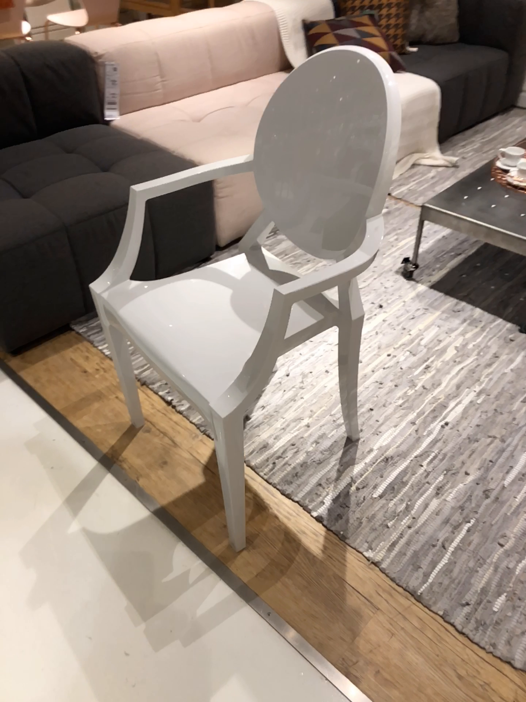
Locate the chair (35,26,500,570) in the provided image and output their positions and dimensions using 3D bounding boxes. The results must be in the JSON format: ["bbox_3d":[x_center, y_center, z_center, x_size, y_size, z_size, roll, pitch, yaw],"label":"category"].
[{"bbox_3d":[0.002,-0.120,1.197,0.552,0.843,0.512,-27,46,-29],"label":"chair"}]
